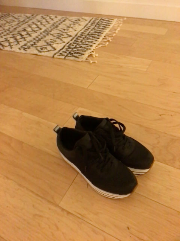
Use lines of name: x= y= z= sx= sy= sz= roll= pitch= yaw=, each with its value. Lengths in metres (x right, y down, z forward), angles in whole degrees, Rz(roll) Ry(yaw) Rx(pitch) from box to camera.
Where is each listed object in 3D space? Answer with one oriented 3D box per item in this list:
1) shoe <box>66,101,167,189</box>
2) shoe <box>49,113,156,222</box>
shoe: x=0.072 y=0.066 z=0.615 sx=0.280 sy=0.139 sz=0.101 roll=25 pitch=50 yaw=27
shoe: x=0.021 y=0.120 z=0.562 sx=0.100 sy=0.139 sz=0.291 roll=-36 pitch=52 yaw=-29
